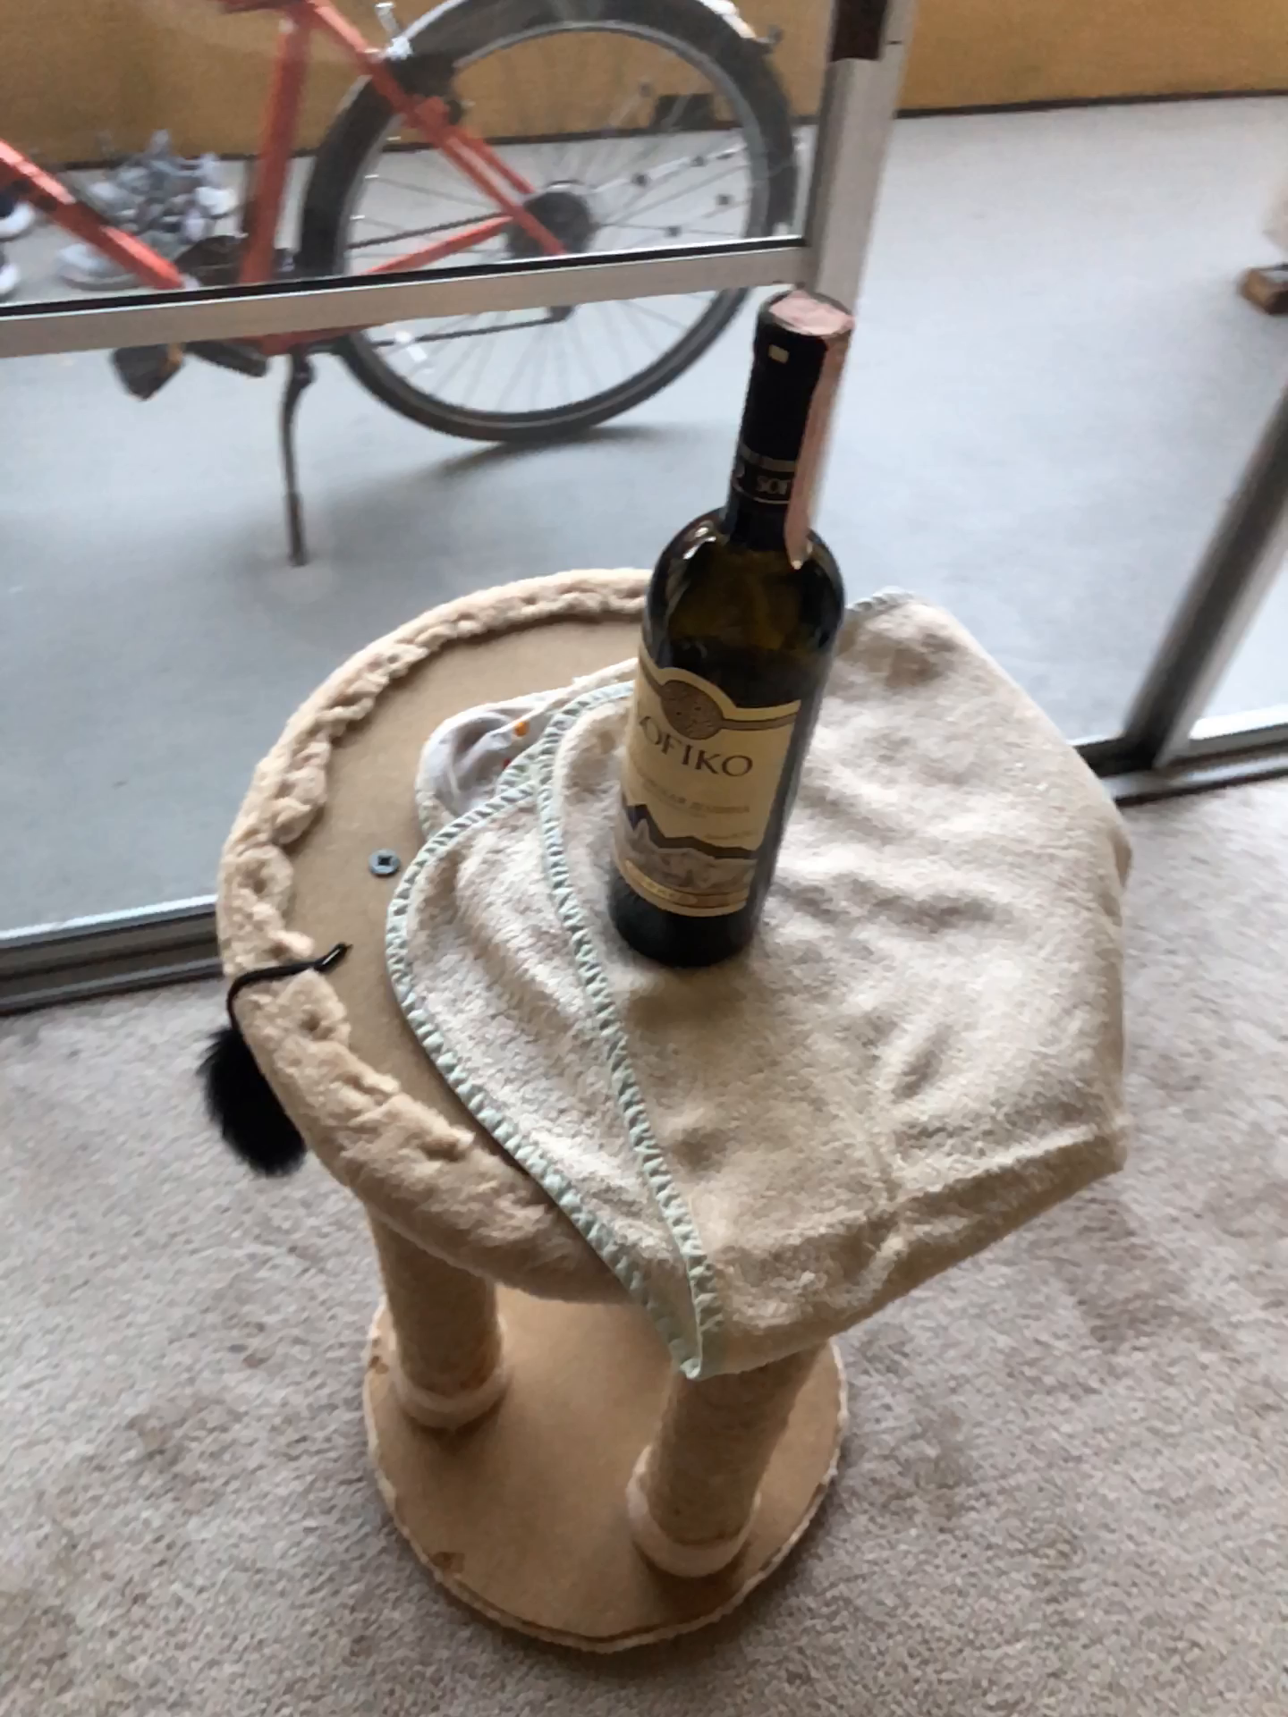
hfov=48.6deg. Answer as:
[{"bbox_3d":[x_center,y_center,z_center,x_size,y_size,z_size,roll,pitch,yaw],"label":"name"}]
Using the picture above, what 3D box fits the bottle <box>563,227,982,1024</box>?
[{"bbox_3d":[0.030,-0.062,0.498,0.080,0.269,0.080,2,52,-3],"label":"bottle"}]
